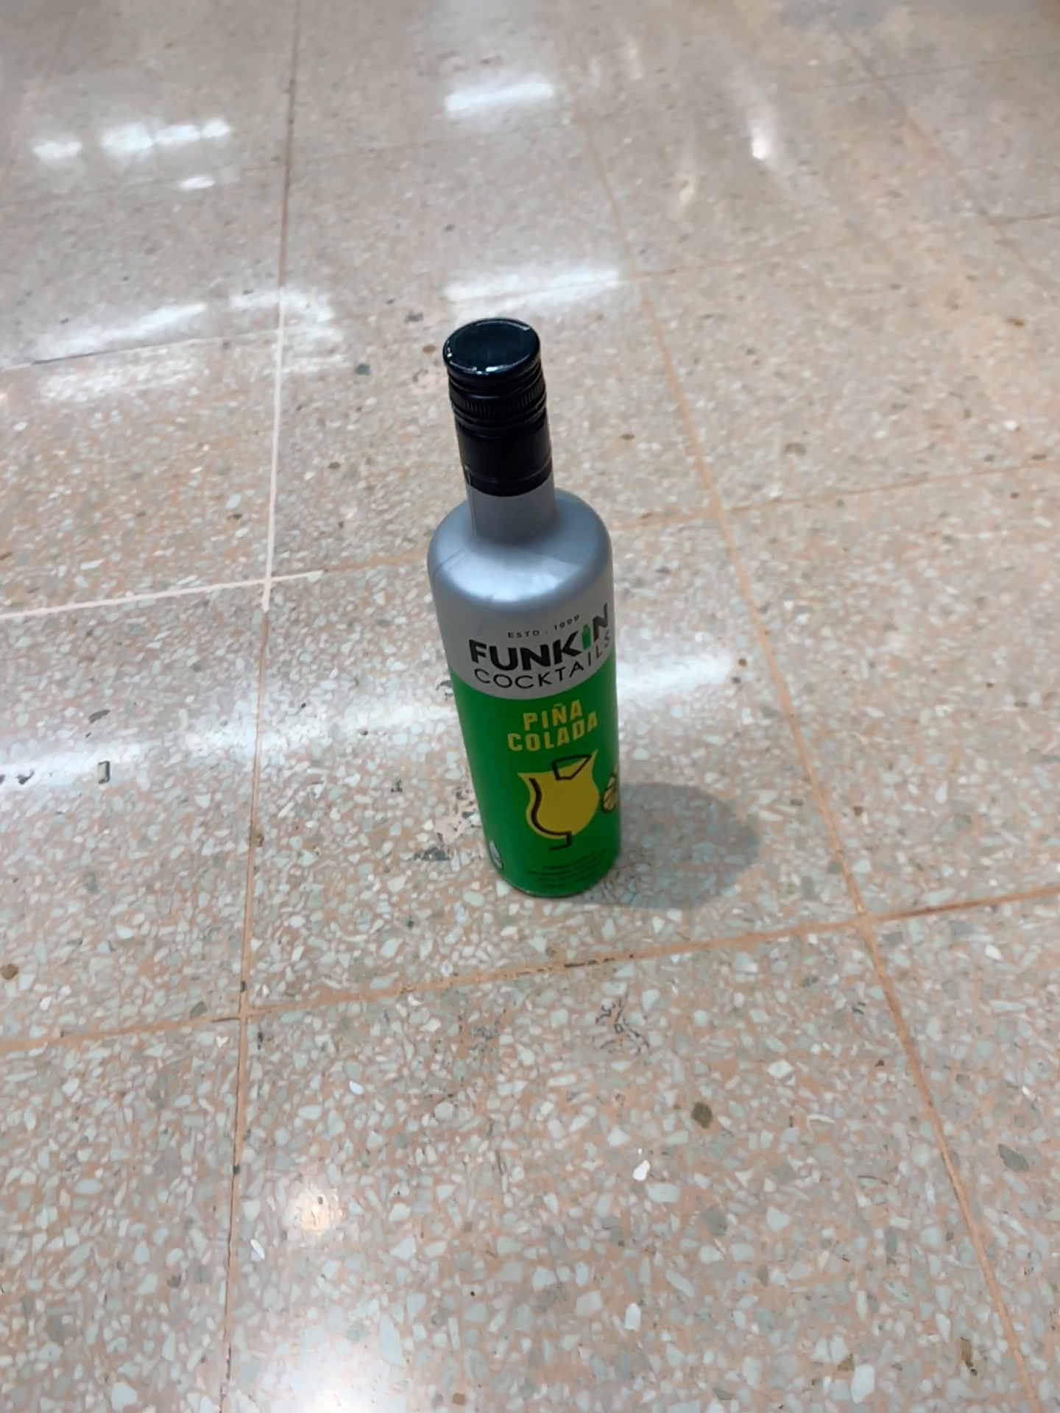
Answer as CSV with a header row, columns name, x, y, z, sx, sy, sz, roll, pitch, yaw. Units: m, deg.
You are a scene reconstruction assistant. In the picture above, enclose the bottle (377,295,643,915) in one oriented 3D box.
name,x,y,z,sx,sy,sz,roll,pitch,yaw
bottle,0.002,-0.018,0.457,0.073,0.284,0.067,-3,51,4
